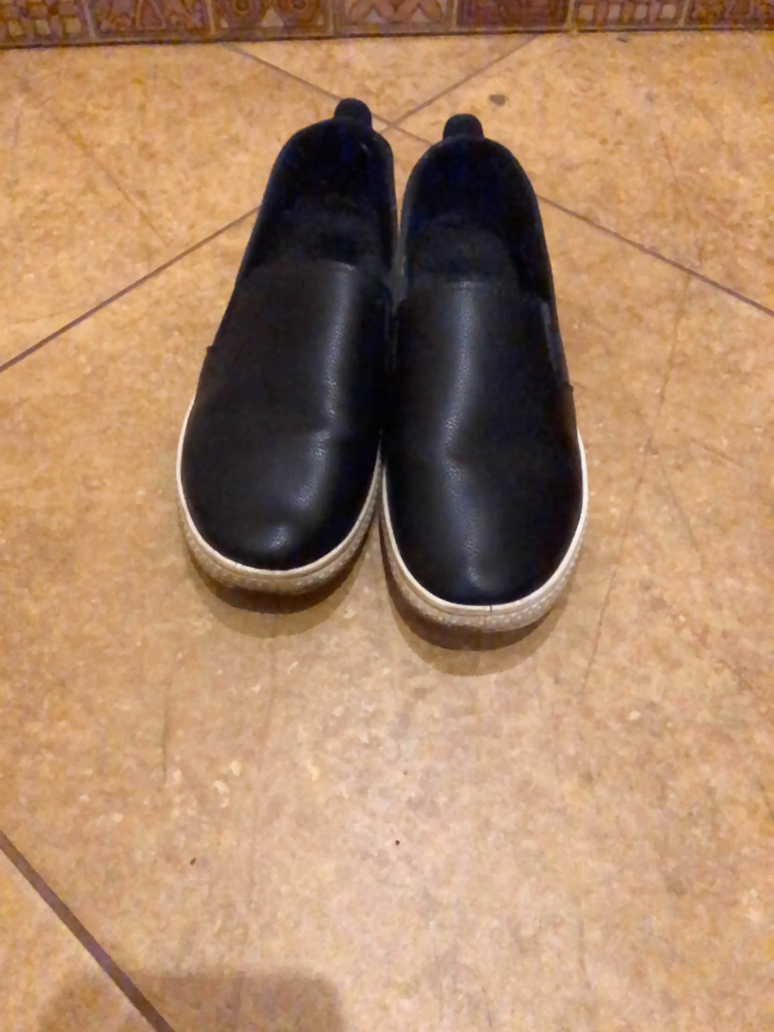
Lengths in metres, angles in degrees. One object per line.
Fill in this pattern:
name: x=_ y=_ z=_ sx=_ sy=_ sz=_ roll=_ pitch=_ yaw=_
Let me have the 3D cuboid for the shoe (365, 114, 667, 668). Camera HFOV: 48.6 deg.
shoe: x=0.041 y=-0.064 z=0.352 sx=0.090 sy=0.070 sz=0.241 roll=2 pitch=55 yaw=0

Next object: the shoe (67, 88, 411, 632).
shoe: x=-0.044 y=-0.079 z=0.360 sx=0.090 sy=0.070 sz=0.241 roll=4 pitch=55 yaw=2
